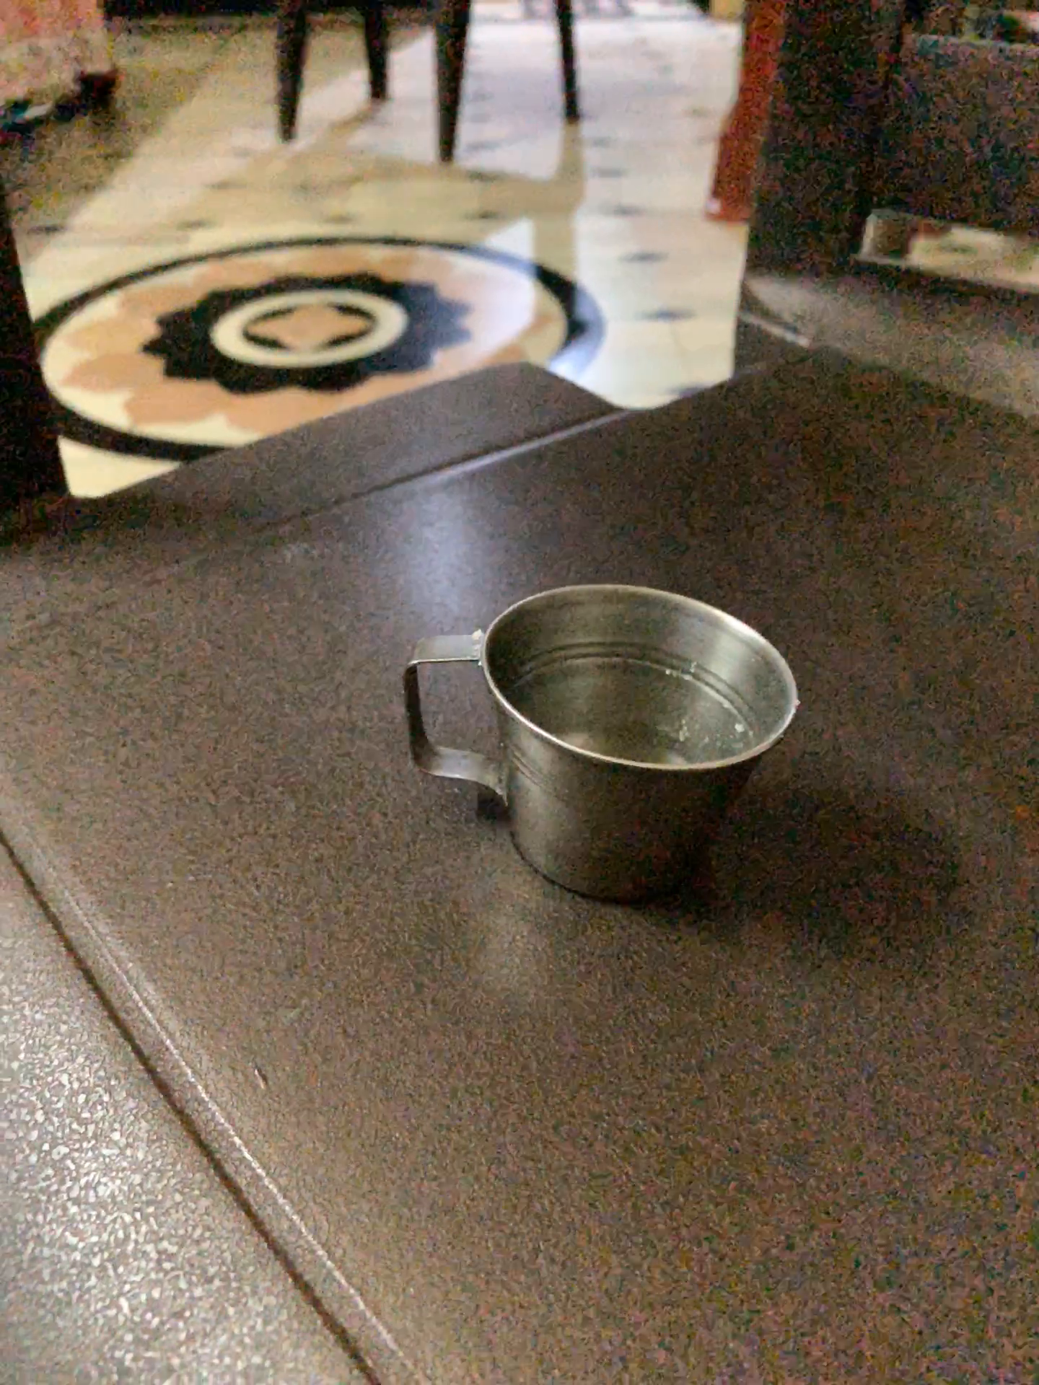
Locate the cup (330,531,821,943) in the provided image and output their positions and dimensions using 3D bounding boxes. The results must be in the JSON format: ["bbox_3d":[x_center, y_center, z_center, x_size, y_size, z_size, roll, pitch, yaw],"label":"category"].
[{"bbox_3d":[0.012,0.006,0.211,0.080,0.040,0.060,8,40,6],"label":"cup"}]
